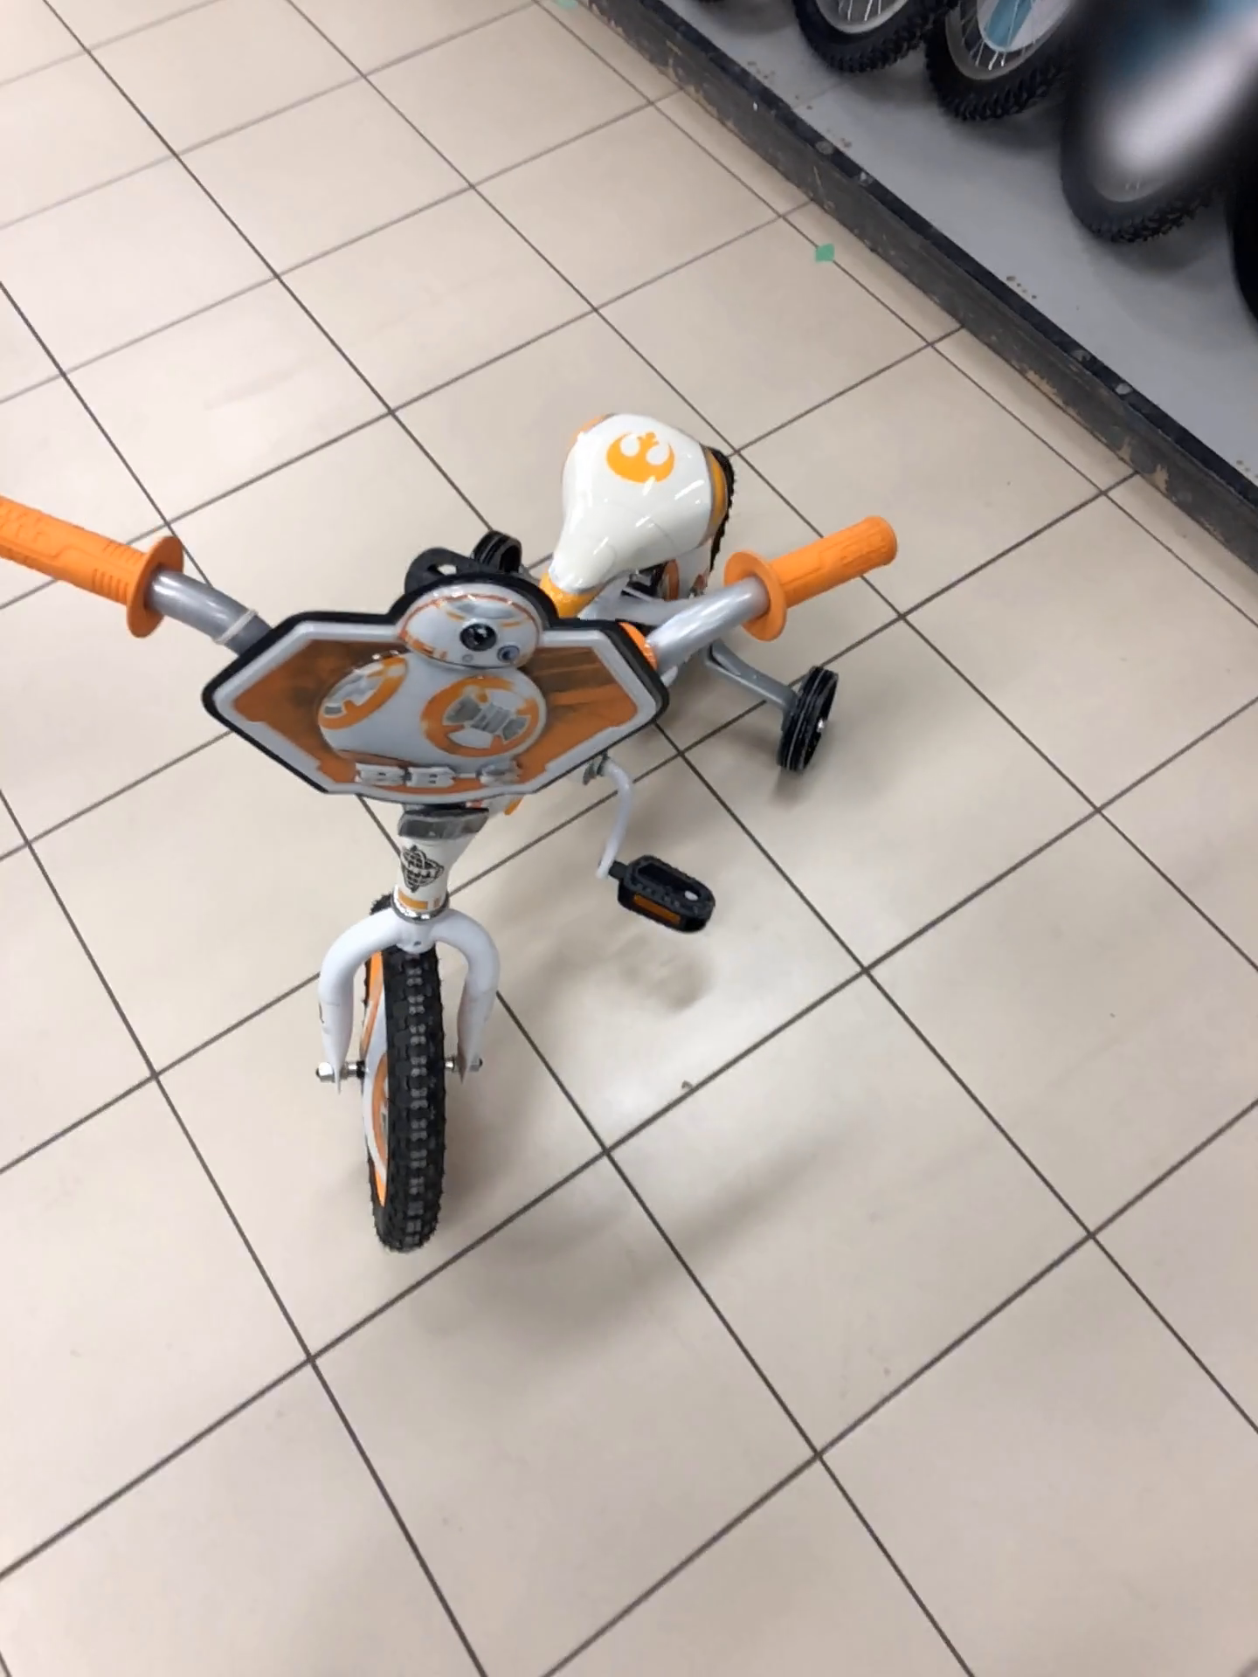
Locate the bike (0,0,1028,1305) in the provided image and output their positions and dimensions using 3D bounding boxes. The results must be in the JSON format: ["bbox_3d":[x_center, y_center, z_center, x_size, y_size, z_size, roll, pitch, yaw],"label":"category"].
[{"bbox_3d":[-0.077,-0.138,1.091,0.435,0.715,0.817,15,64,10],"label":"bike"}]
